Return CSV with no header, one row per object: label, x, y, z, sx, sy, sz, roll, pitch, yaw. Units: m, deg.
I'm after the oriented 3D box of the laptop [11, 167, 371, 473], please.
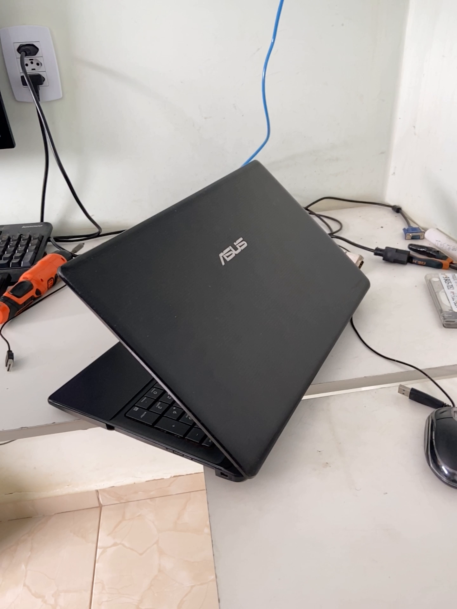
laptop,-0.010,-0.033,0.572,0.247,0.166,0.378,12,34,29
